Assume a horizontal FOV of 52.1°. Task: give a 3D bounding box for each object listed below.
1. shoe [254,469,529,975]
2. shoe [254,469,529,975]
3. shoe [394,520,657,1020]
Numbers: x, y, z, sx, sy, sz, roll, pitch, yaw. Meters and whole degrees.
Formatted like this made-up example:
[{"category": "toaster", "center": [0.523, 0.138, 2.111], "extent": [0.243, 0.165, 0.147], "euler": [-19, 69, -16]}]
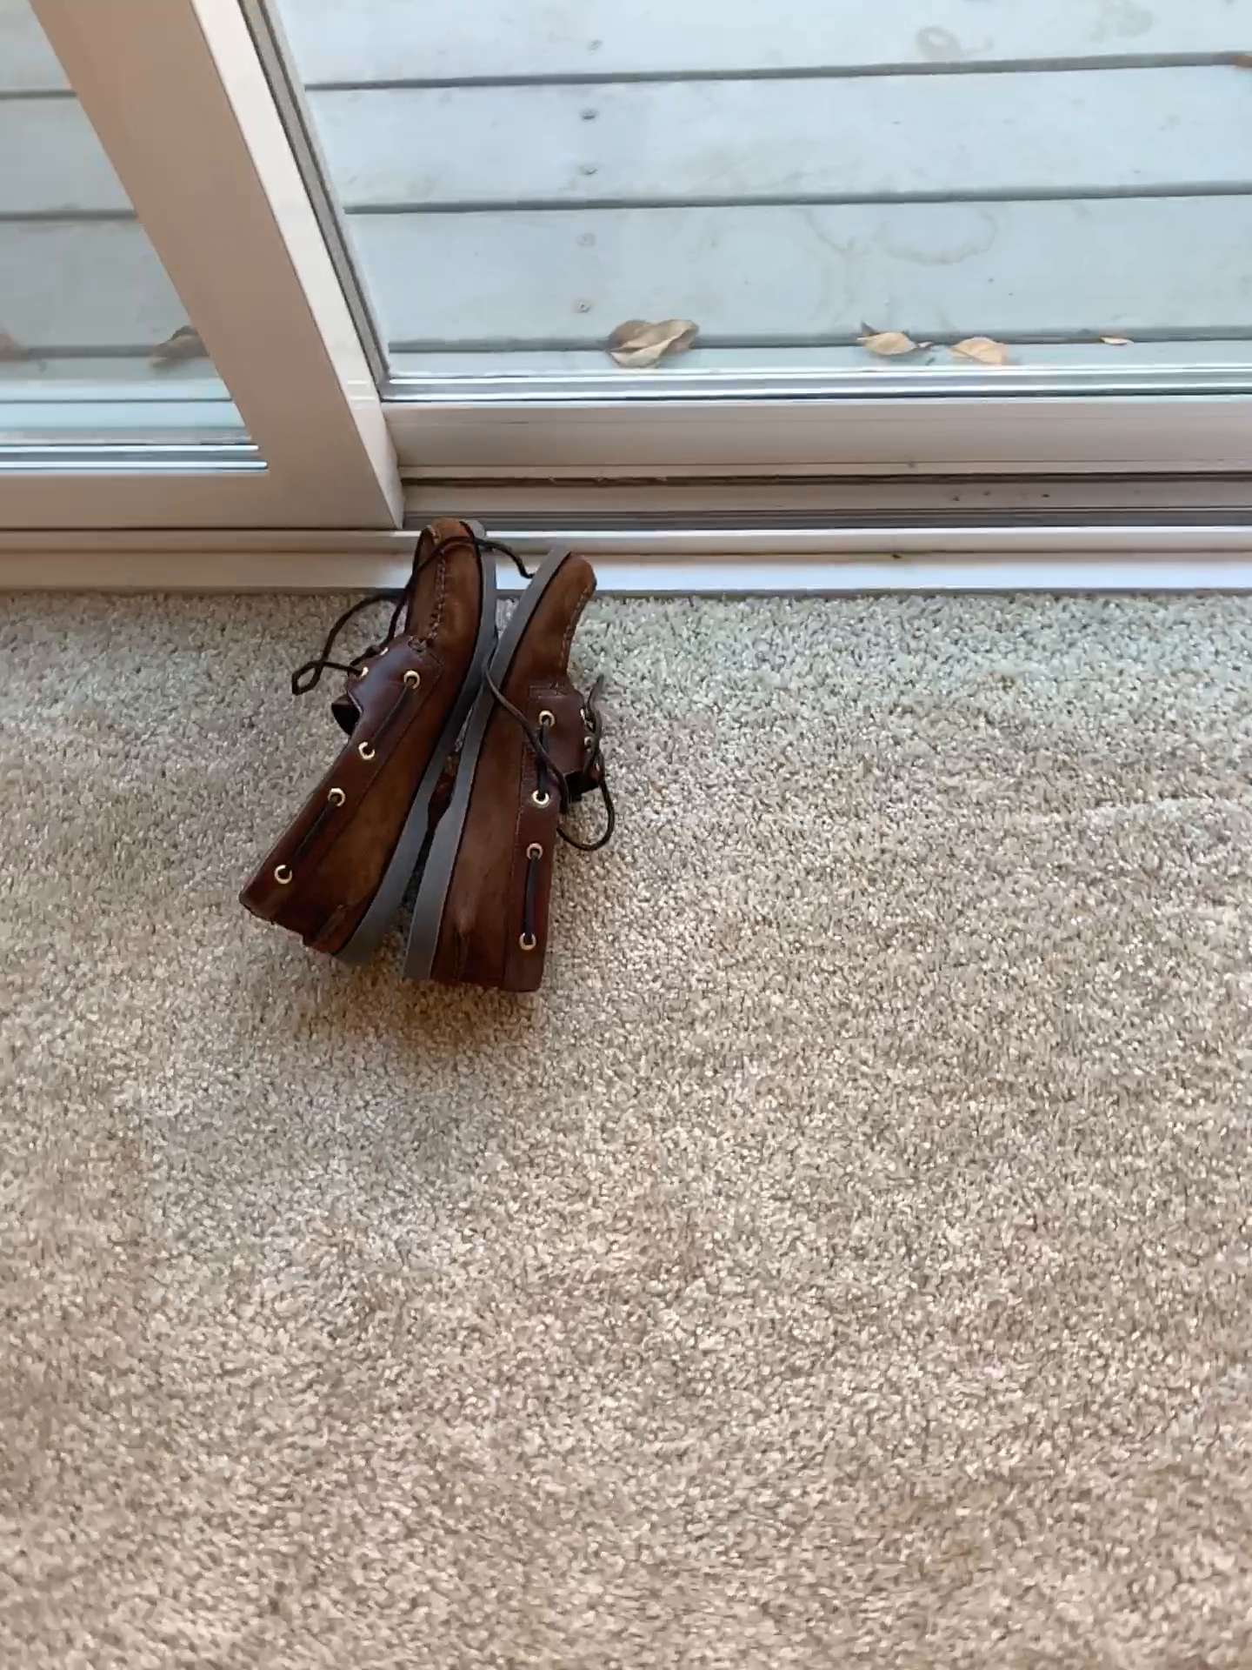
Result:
[{"category": "shoe", "center": [-0.145, -0.068, 0.798], "extent": [0.090, 0.110, 0.280], "euler": [16, 69, -13]}, {"category": "shoe", "center": [-0.145, -0.068, 0.798], "extent": [0.090, 0.110, 0.280], "euler": [16, 69, -13]}, {"category": "shoe", "center": [-0.061, -0.038, 0.782], "extent": [0.090, 0.110, 0.270], "euler": [14, 70, -5]}]
